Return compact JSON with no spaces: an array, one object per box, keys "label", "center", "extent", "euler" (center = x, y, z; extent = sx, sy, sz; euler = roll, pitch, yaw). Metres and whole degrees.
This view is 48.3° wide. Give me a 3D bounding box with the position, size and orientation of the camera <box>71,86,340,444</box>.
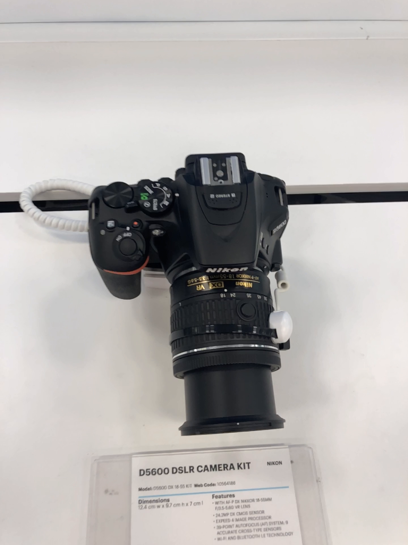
[{"label":"camera","center":[-0.010,-0.004,0.278],"extent":[0.120,0.090,0.190],"euler":[-5,68,-4]}]
